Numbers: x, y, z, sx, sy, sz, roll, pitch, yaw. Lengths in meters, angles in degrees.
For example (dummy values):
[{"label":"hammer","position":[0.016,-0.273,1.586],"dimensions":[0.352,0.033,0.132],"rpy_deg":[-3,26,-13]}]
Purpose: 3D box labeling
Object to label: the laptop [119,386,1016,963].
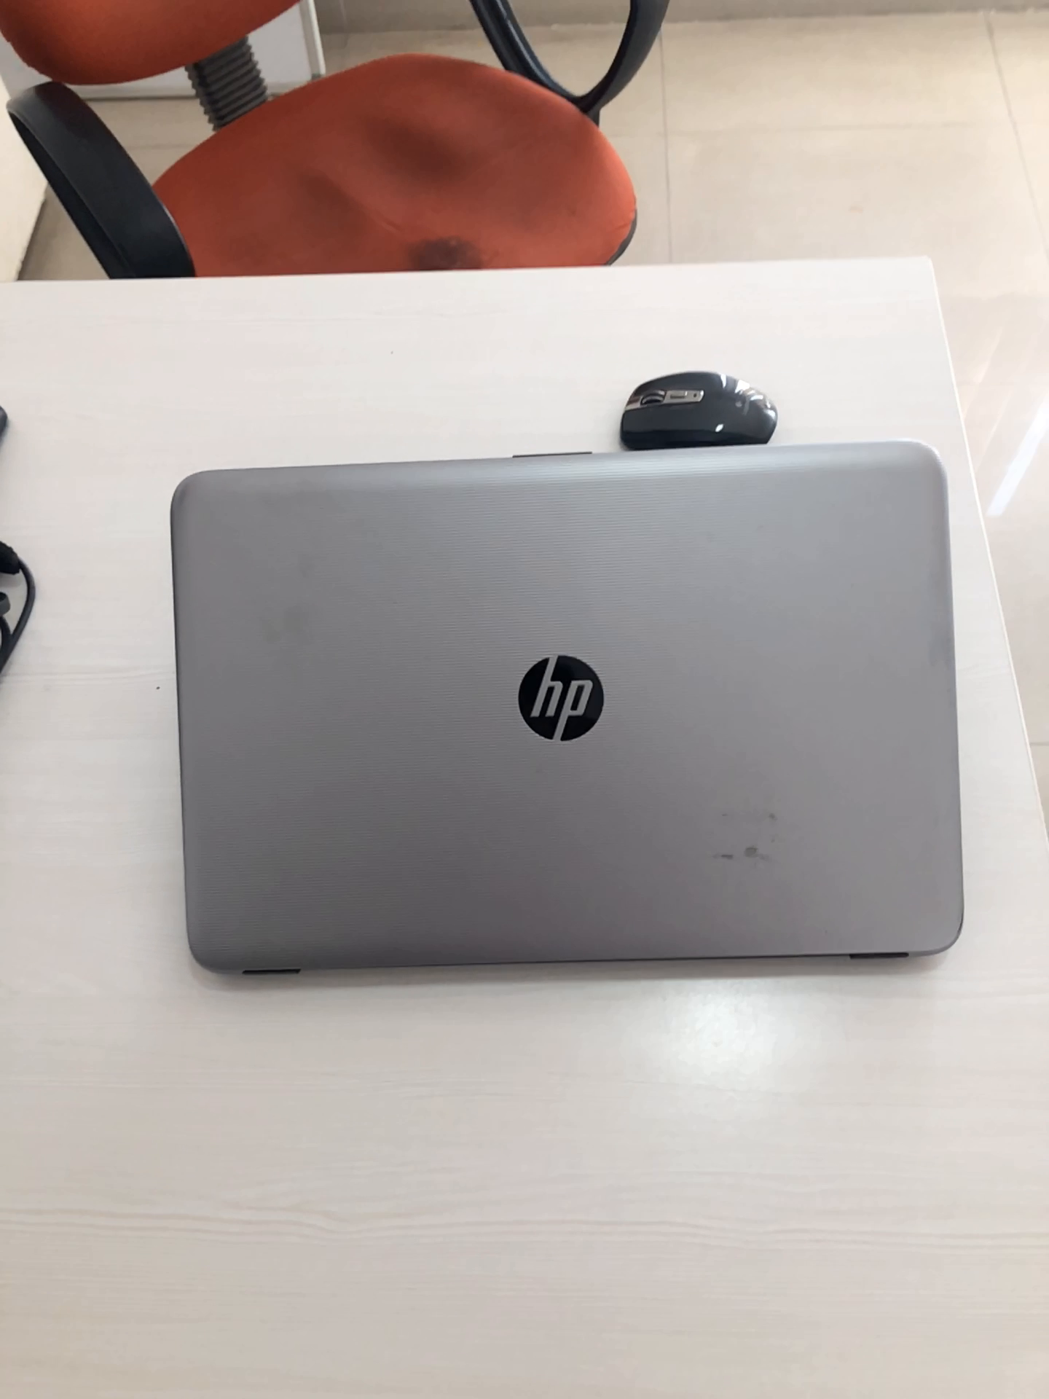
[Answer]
[{"label":"laptop","position":[0.012,-0.012,0.586],"dimensions":[0.369,0.120,0.252],"rpy_deg":[-2,62,3]}]
